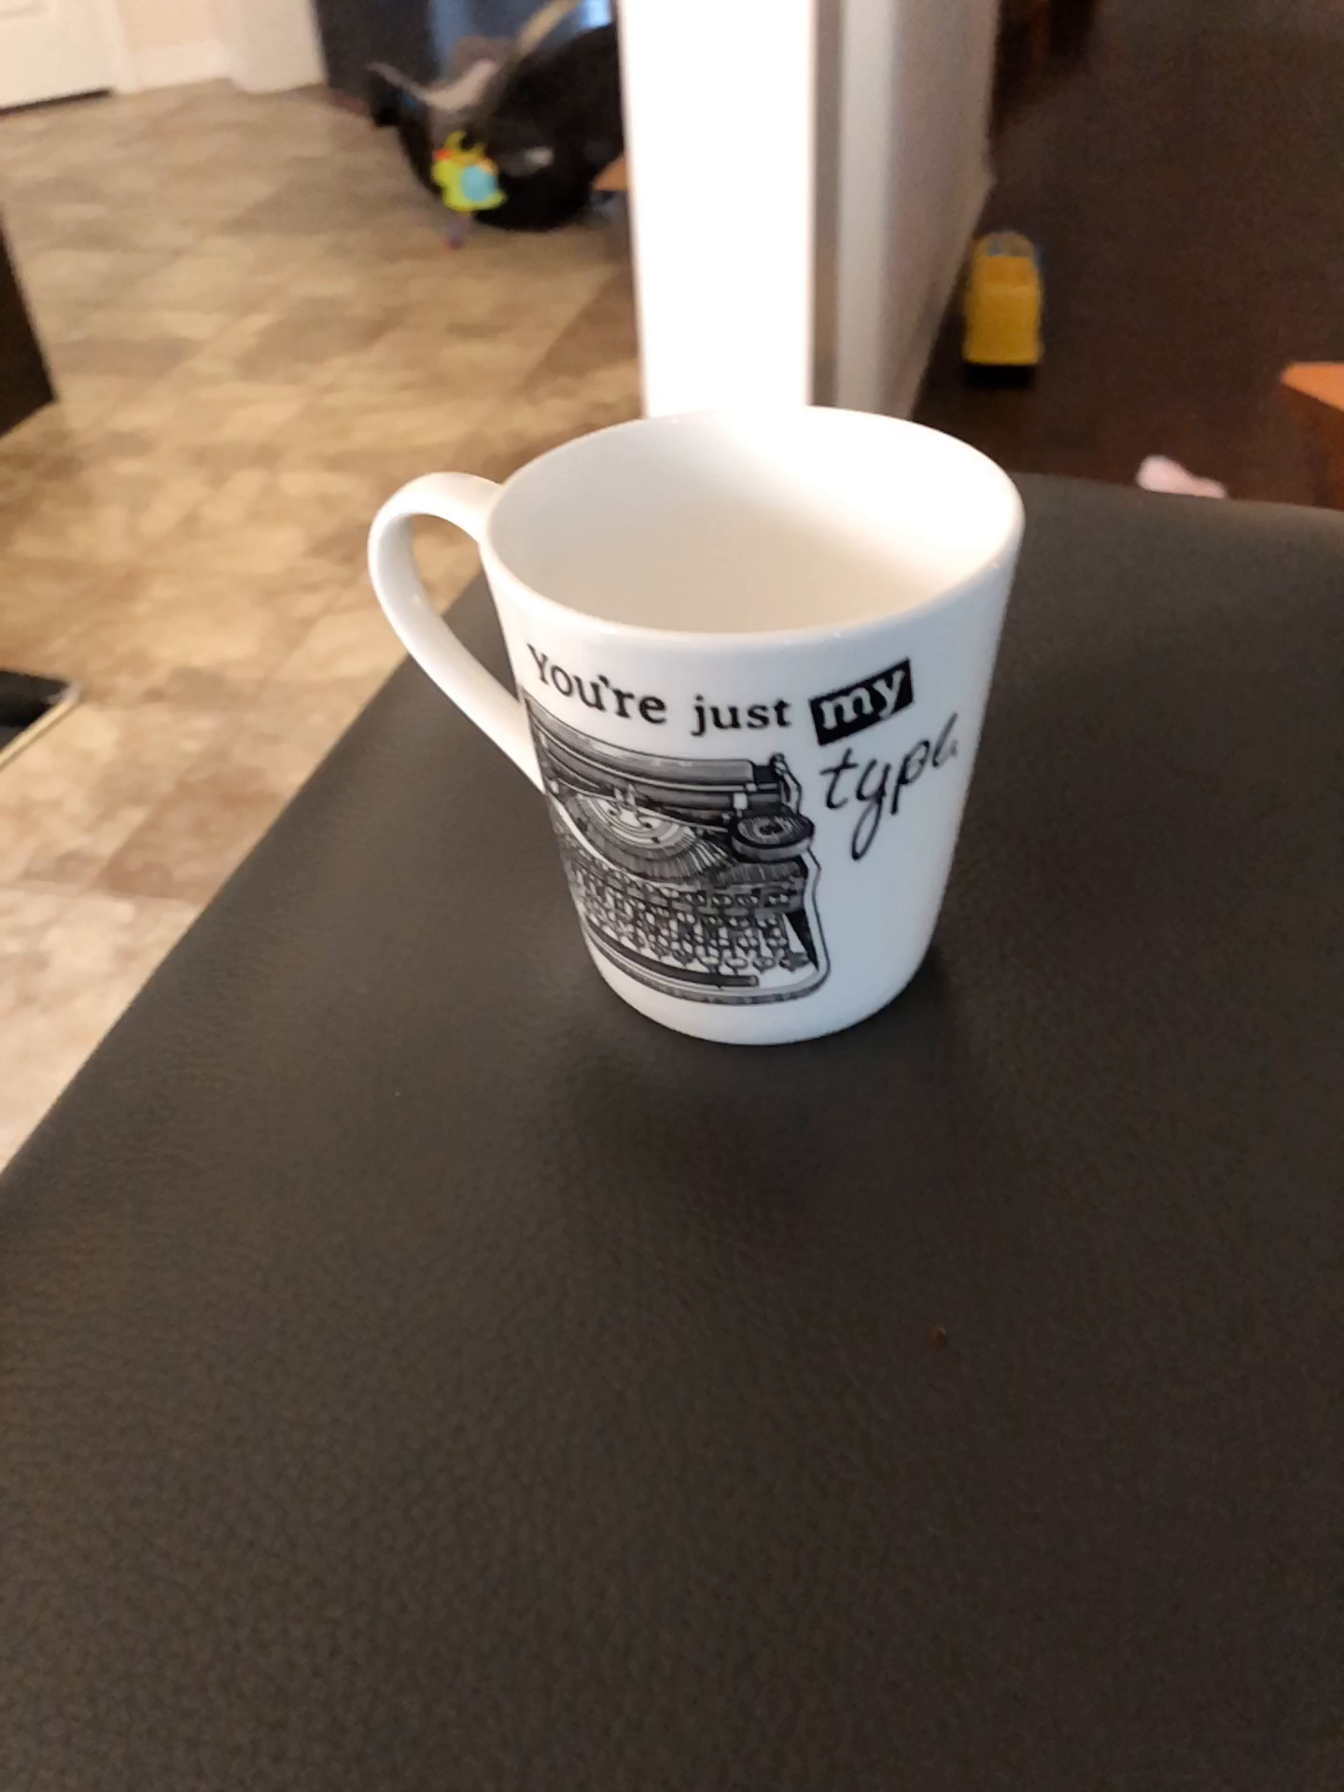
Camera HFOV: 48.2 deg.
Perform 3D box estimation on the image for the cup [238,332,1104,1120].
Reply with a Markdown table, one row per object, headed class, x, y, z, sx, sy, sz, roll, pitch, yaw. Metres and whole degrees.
| class | x | y | z | sx | sy | sz | roll | pitch | yaw |
| --- | --- | --- | --- | --- | --- | --- | --- | --- | --- |
| cup | 0.002 | -0.037 | 0.275 | 0.117 | 0.089 | 0.081 | 19 | 45 | 25 |
